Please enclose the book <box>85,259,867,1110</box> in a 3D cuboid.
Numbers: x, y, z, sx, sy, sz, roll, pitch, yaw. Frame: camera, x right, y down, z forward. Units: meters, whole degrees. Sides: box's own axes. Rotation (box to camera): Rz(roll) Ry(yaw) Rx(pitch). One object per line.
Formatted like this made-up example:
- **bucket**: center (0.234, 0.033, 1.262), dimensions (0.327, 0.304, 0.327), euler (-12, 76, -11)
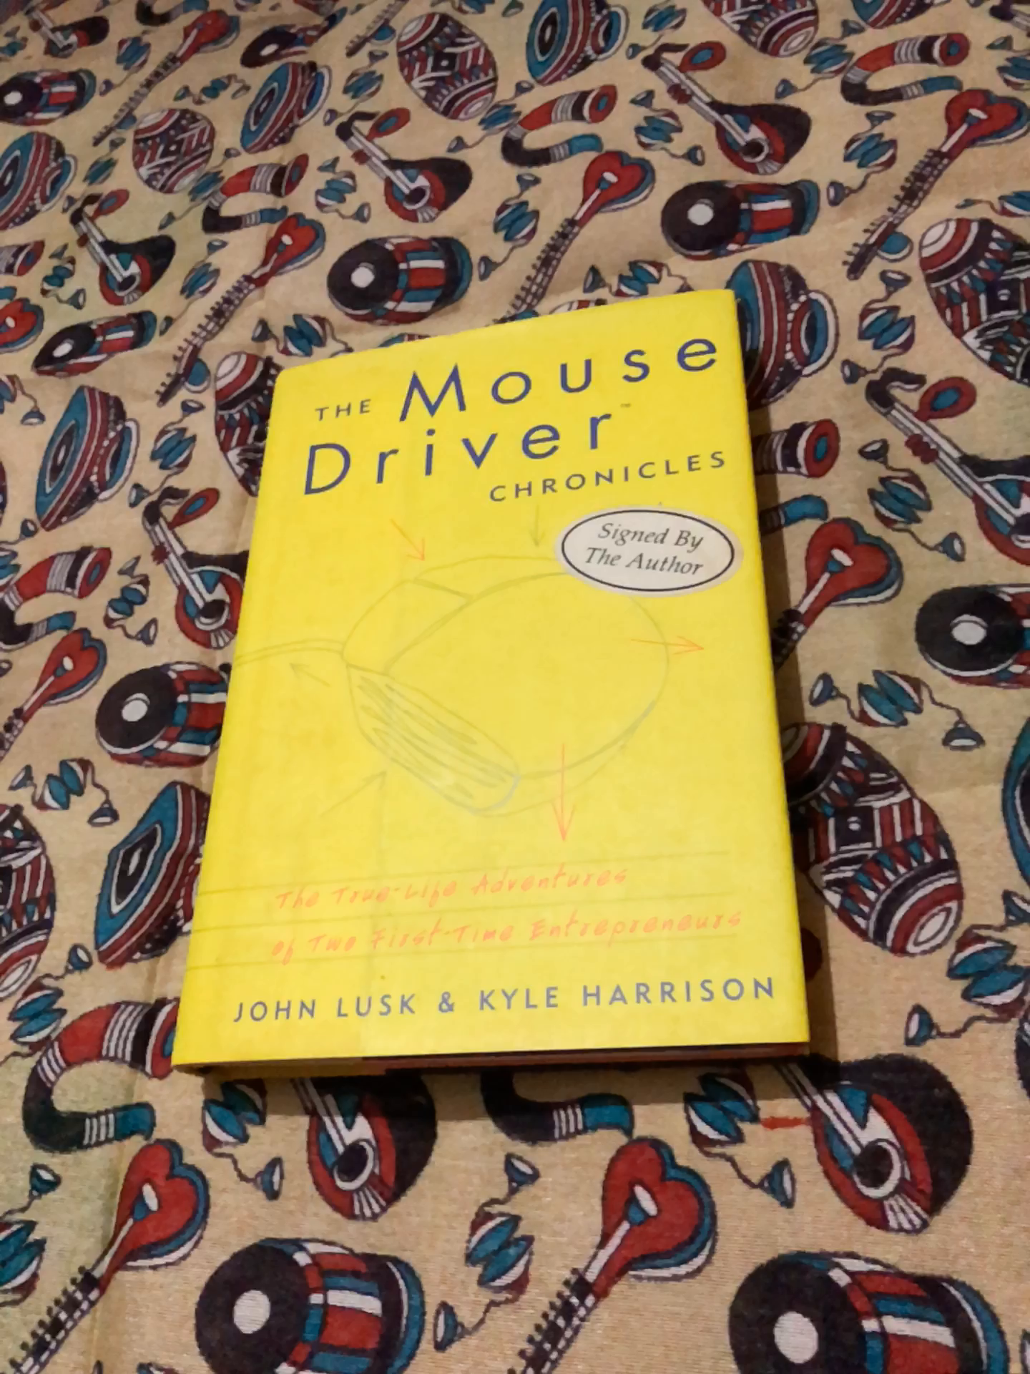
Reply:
- **book**: center (-0.006, -0.010, 0.303), dimensions (0.160, 0.040, 0.220), euler (-6, 57, 12)
